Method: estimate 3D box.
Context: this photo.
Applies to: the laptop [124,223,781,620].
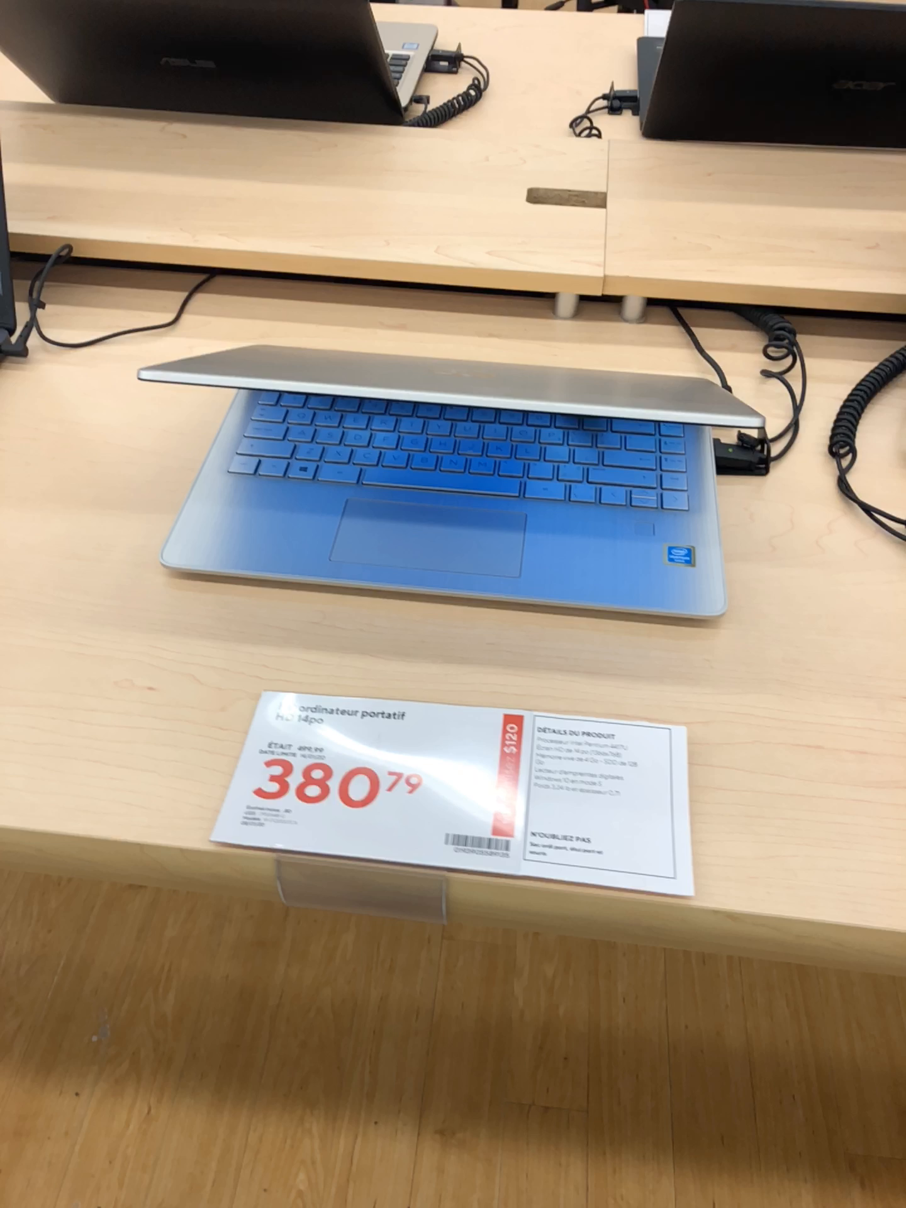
[{"bbox_3d":[-0.002,-0.123,0.583,0.318,0.104,0.217,5,44,10],"label":"laptop"}]
